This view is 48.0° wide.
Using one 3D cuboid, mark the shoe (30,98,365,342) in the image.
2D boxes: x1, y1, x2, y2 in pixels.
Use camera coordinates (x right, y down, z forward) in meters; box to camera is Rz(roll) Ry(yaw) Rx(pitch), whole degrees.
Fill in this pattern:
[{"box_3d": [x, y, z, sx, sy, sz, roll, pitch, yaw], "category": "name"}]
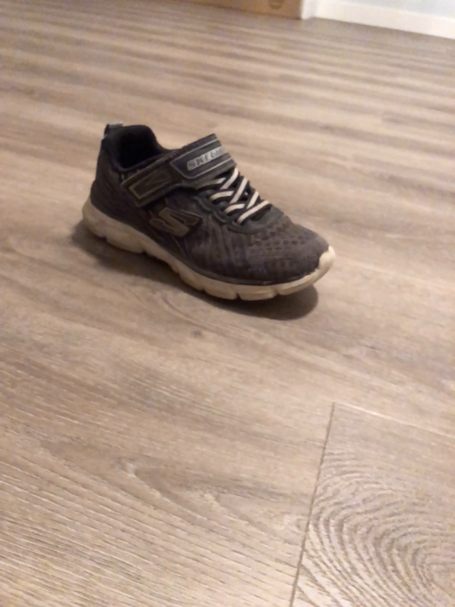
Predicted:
[{"box_3d": [-0.030, -0.079, 0.402, 0.230, 0.099, 0.100, 24, 36, 23], "category": "shoe"}]
